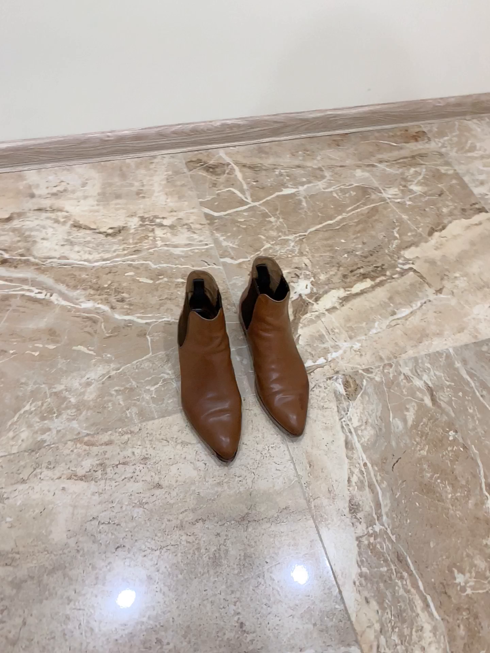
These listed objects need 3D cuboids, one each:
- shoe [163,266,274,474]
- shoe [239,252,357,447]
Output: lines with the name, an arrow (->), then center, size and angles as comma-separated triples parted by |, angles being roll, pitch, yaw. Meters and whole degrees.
shoe -> -0.047, 0.057, 0.709 | 0.090, 0.130, 0.251 | -9, 58, -13
shoe -> 0.065, 0.029, 0.734 | 0.090, 0.120, 0.251 | -7, 57, -11
